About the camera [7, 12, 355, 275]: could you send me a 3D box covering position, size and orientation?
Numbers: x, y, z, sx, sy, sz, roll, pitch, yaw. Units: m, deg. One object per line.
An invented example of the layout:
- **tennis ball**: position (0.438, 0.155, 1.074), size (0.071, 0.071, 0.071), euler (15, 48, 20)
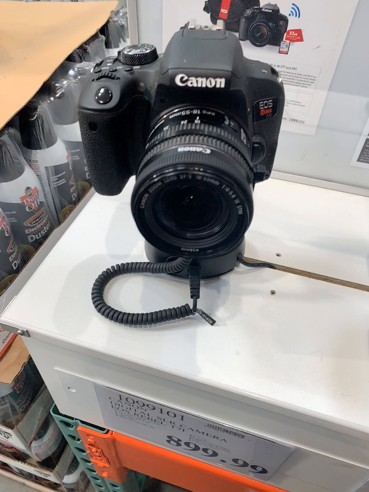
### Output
- **camera**: position (0.001, -0.064, 0.220), size (0.134, 0.089, 0.121), euler (5, 45, 2)
